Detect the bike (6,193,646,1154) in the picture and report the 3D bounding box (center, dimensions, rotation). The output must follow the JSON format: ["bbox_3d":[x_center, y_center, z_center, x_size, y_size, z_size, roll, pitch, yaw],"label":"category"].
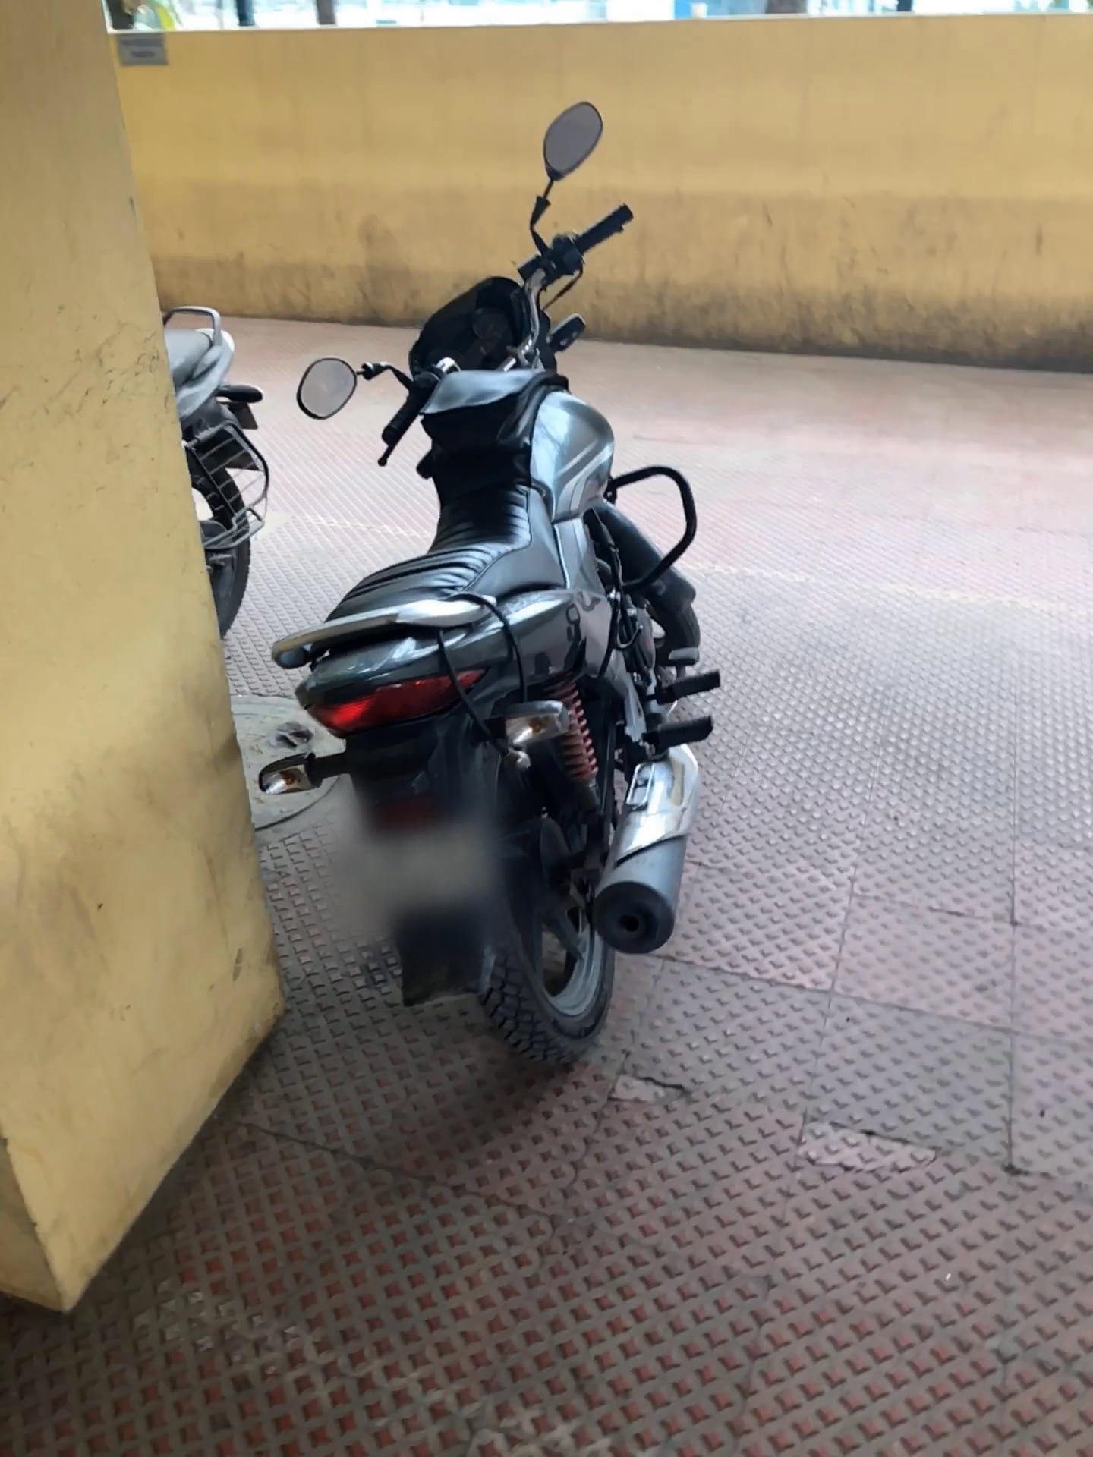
[{"bbox_3d":[-0.202,-0.254,2.222,0.720,1.166,1.477,1,31,4],"label":"bike"}]
